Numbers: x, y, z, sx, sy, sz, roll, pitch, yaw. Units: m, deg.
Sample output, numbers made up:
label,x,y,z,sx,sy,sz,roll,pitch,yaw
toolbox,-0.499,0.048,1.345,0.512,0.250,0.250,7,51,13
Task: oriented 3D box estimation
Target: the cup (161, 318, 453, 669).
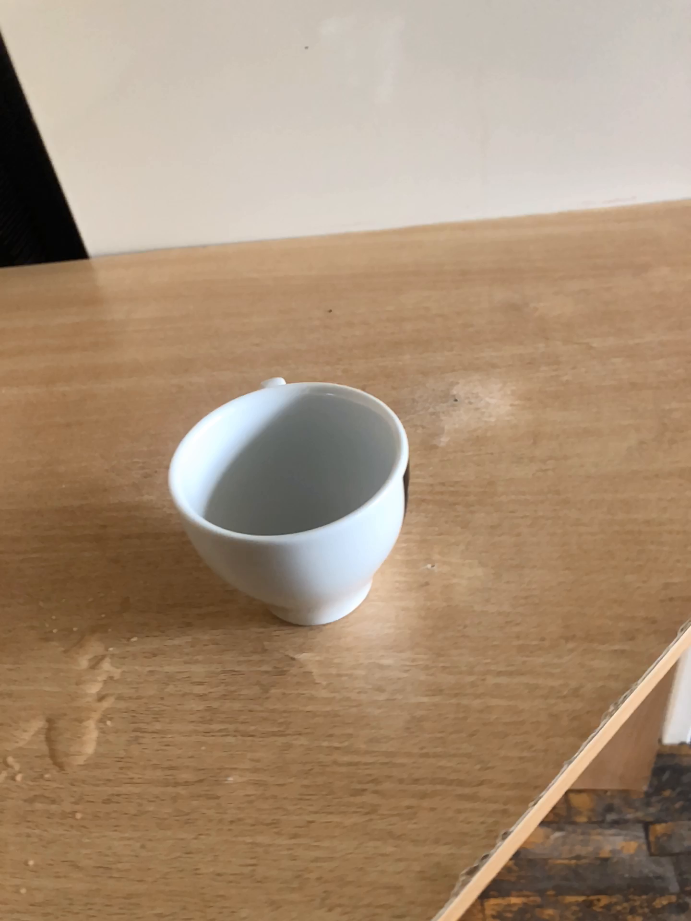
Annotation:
label,x,y,z,sx,sy,sz,roll,pitch,yaw
cup,-0.017,0.006,0.270,0.080,0.050,0.105,-13,41,-3
